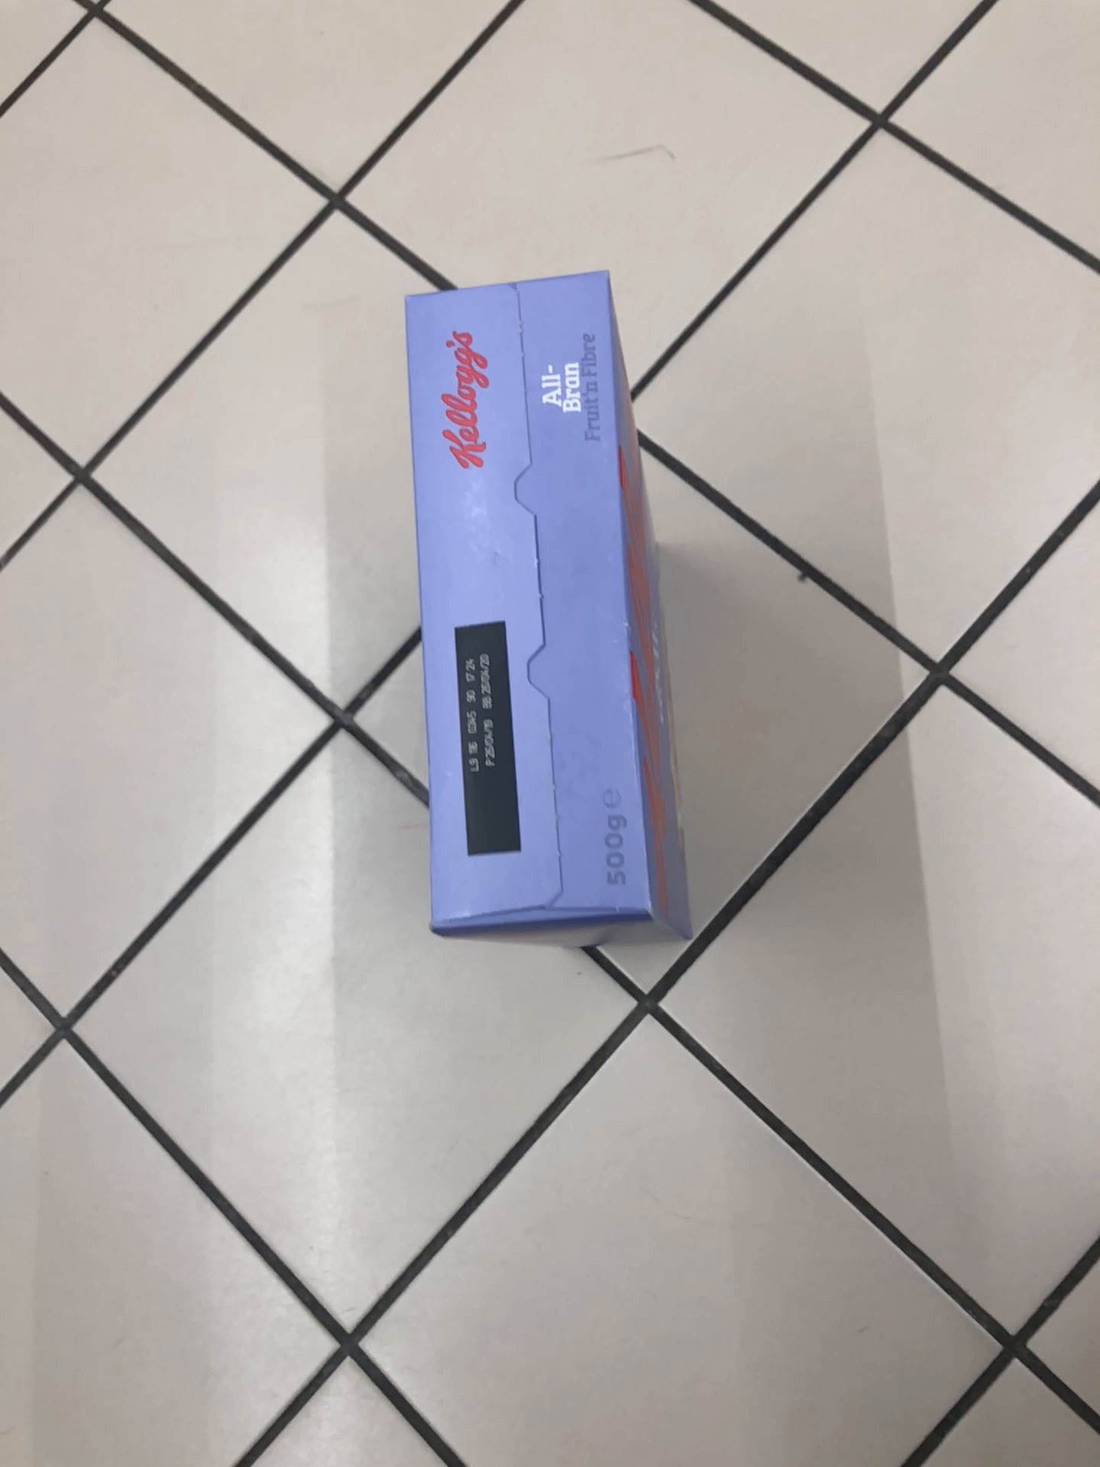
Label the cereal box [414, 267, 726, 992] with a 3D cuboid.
[{"bbox_3d":[0.019,-0.011,0.451,0.070,0.240,0.200,-5,78,8],"label":"cereal box"}]
